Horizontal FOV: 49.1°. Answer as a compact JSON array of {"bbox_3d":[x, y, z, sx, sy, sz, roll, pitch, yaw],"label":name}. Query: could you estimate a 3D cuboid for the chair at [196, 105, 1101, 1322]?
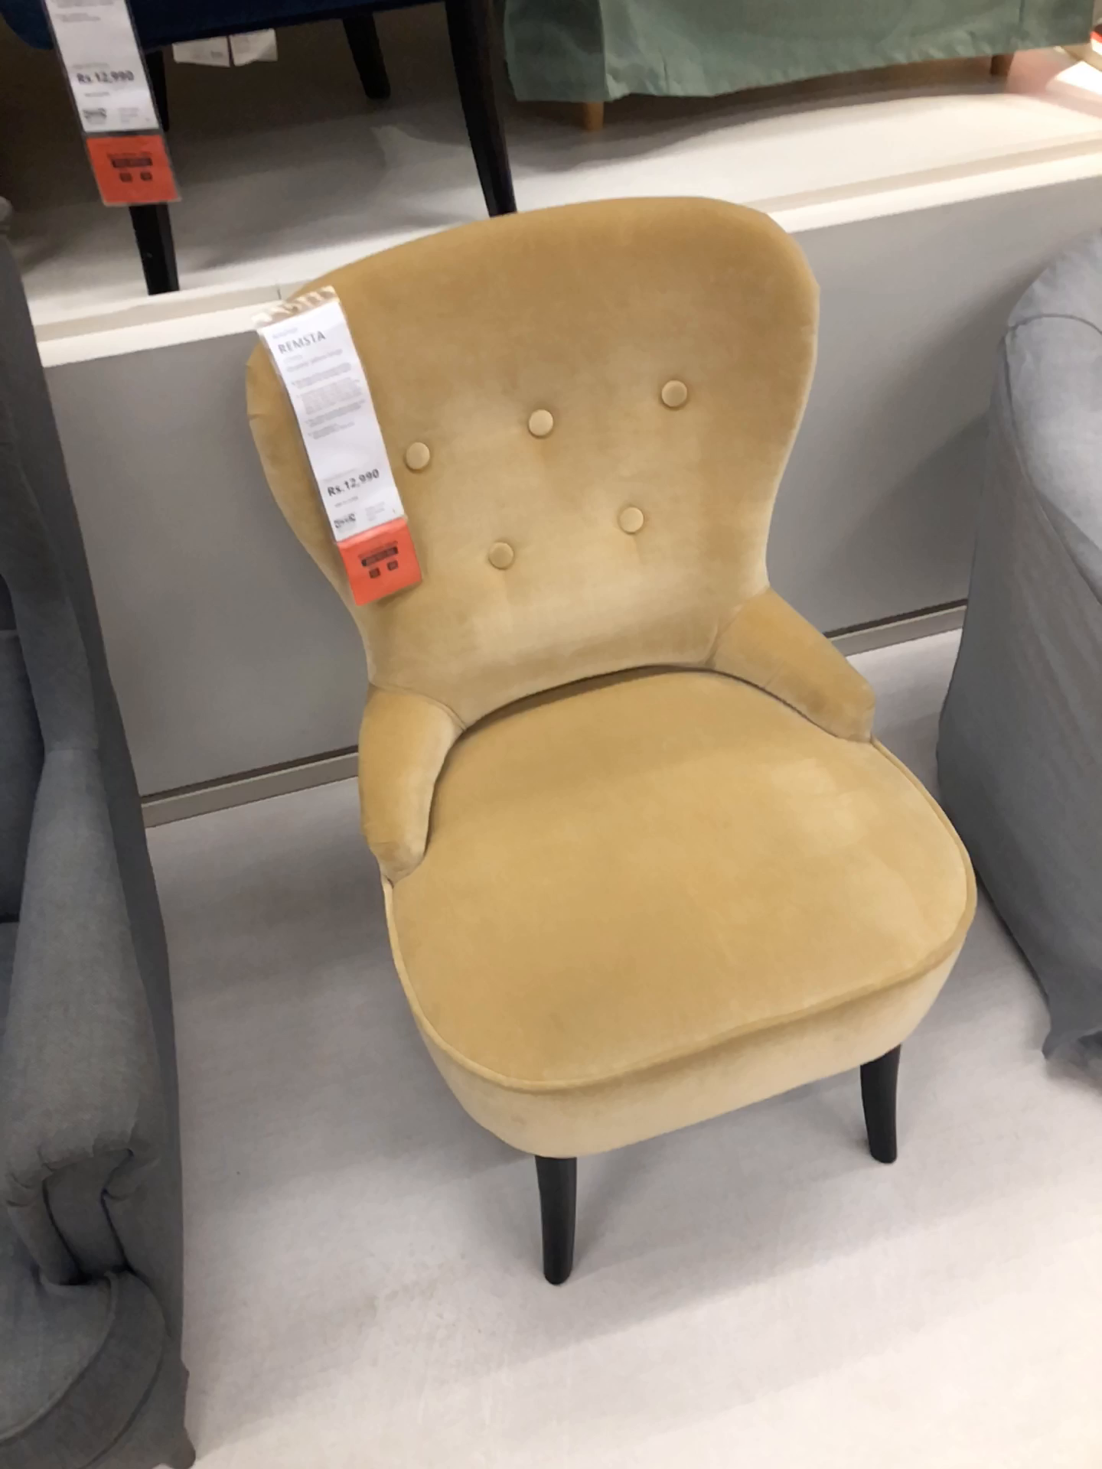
[{"bbox_3d":[0.096,0.008,1.167,0.580,0.864,0.644,-15,49,-10],"label":"chair"}]
